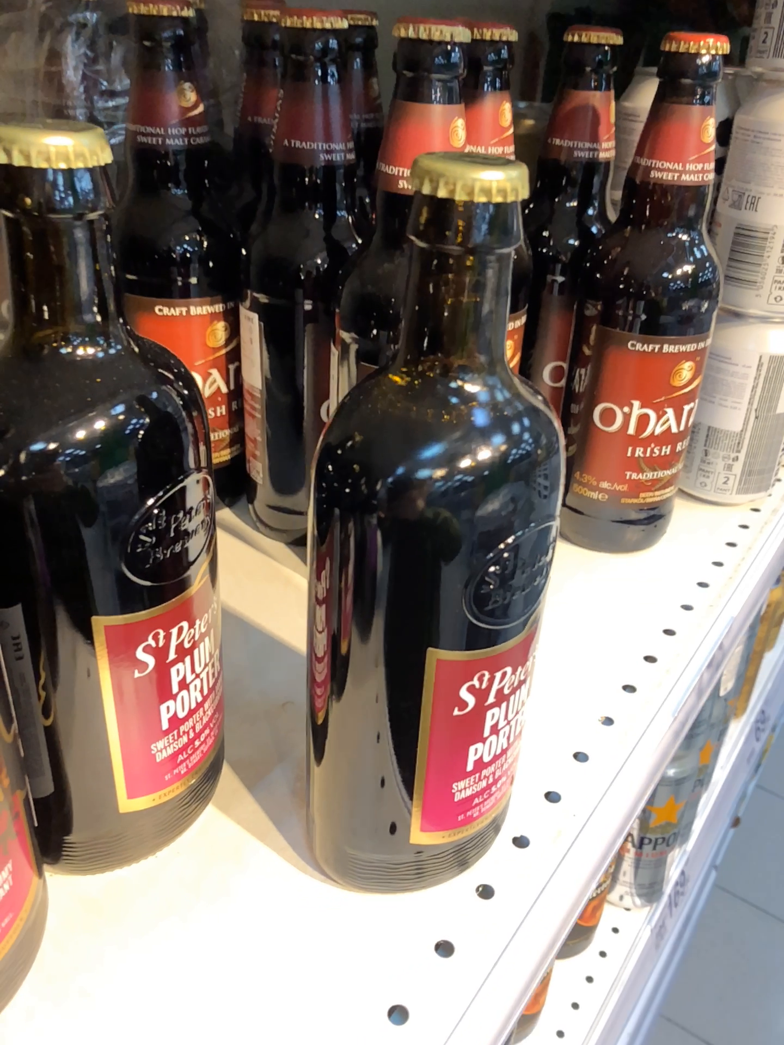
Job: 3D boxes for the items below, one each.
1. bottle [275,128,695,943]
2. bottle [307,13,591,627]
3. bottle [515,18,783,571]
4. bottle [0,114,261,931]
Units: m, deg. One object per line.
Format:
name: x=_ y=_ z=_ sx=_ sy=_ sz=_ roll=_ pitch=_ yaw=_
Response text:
bottle: x=0.018 y=0.008 z=0.246 sx=0.058 sy=0.209 sz=0.082 roll=24 pitch=36 yaw=31
bottle: x=0.015 y=-0.079 z=0.367 sx=0.072 sy=0.230 sz=0.069 roll=3 pitch=30 yaw=-2
bottle: x=0.125 y=-0.103 z=0.416 sx=0.075 sy=0.235 sz=0.069 roll=3 pitch=30 yaw=-2
bottle: x=-0.091 y=0.005 z=0.251 sx=0.069 sy=0.213 sz=0.079 roll=17 pitch=33 yaw=21
